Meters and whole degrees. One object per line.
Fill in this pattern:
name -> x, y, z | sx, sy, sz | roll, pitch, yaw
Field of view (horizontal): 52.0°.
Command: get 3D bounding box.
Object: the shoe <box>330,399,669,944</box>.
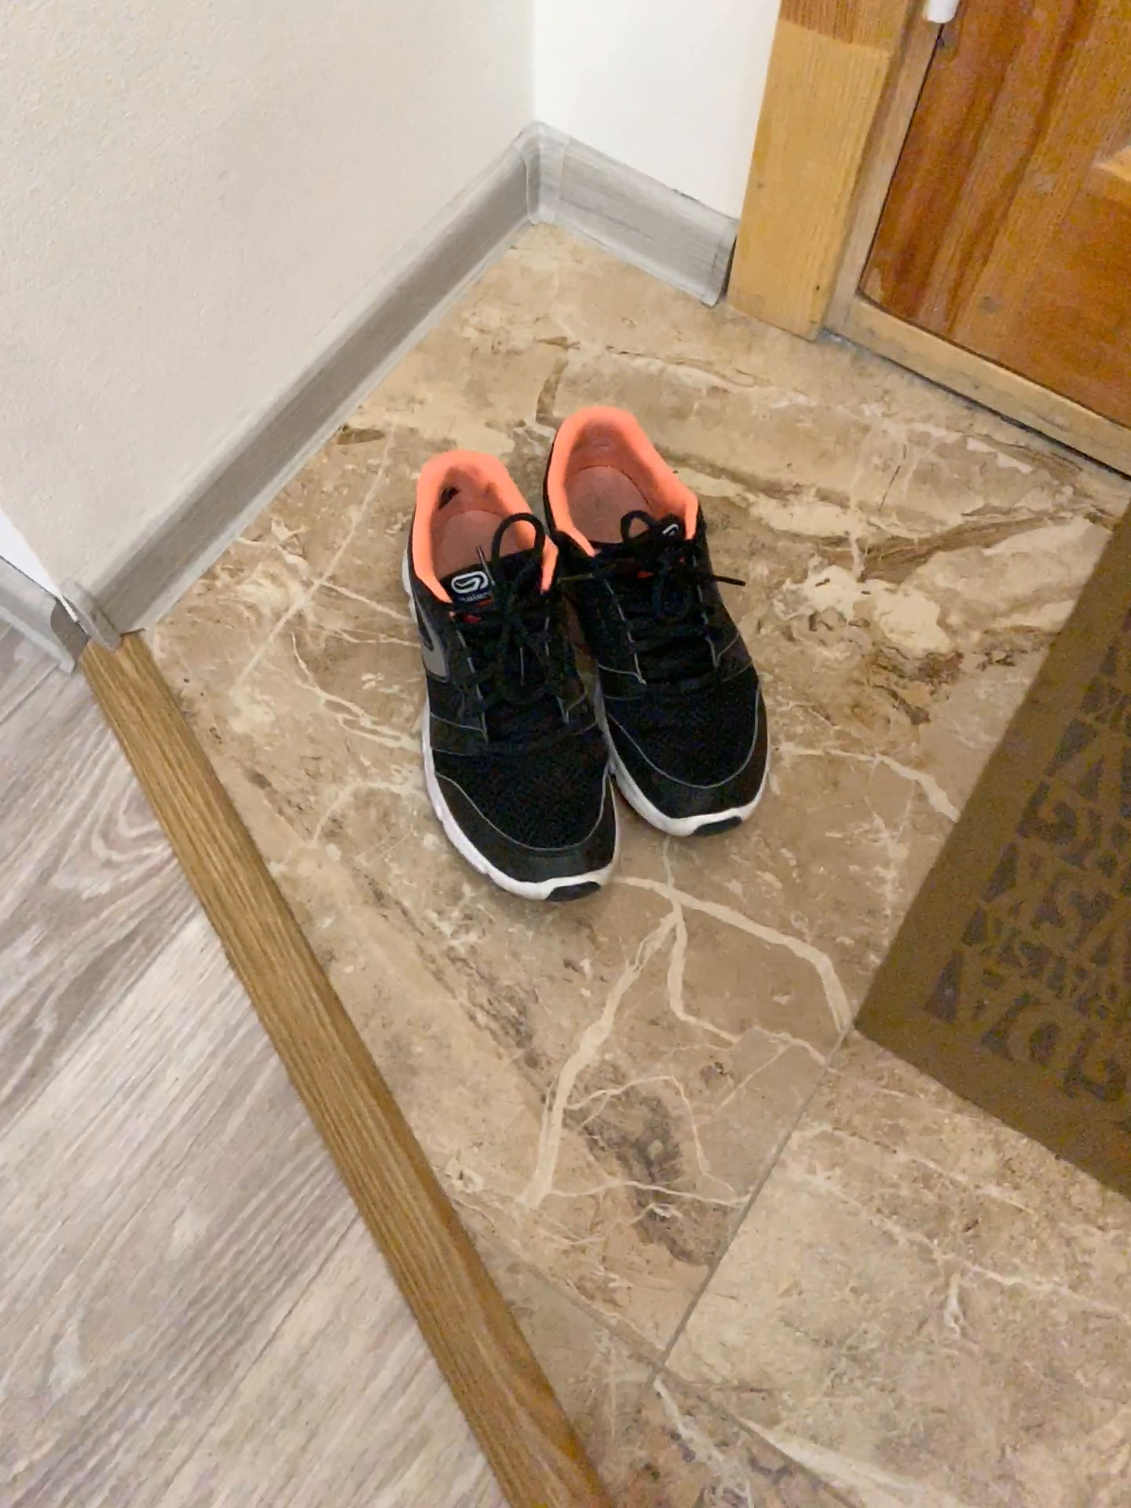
shoe -> -0.039, -0.046, 0.604 | 0.100, 0.100, 0.251 | -15, 66, -8

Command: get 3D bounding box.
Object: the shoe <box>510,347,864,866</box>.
shoe -> 0.053, -0.081, 0.620 | 0.100, 0.100, 0.245 | -15, 66, -8
